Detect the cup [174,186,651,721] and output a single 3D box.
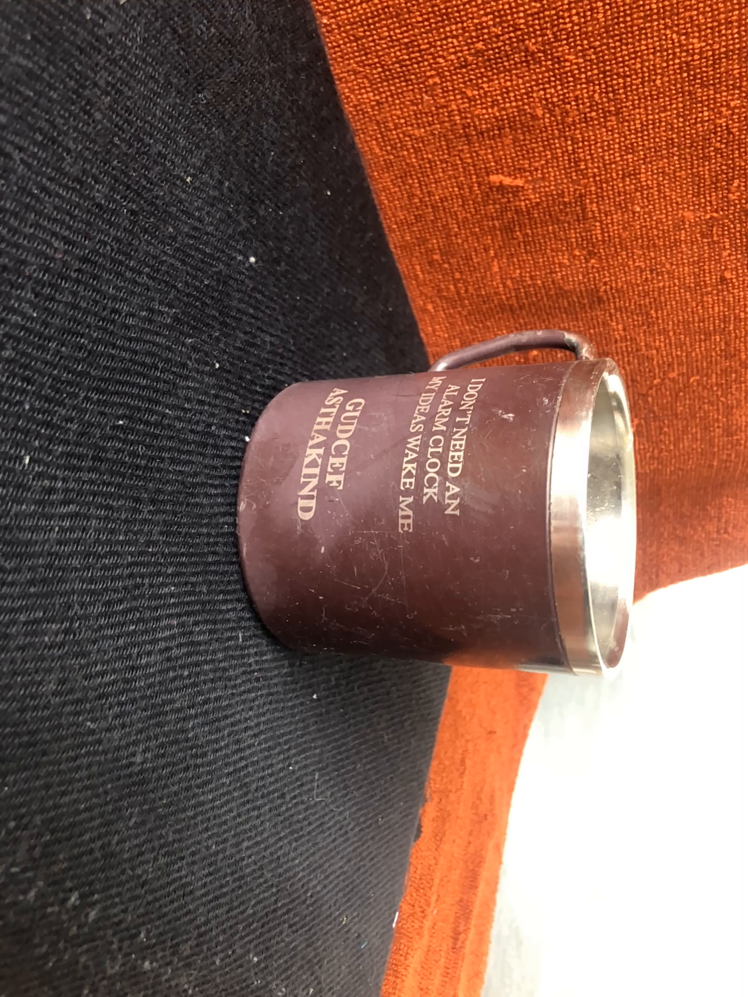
[{"bbox_3d":[0.024,-0.014,0.237,0.110,0.089,0.090,-68,149,-41],"label":"cup"}]
